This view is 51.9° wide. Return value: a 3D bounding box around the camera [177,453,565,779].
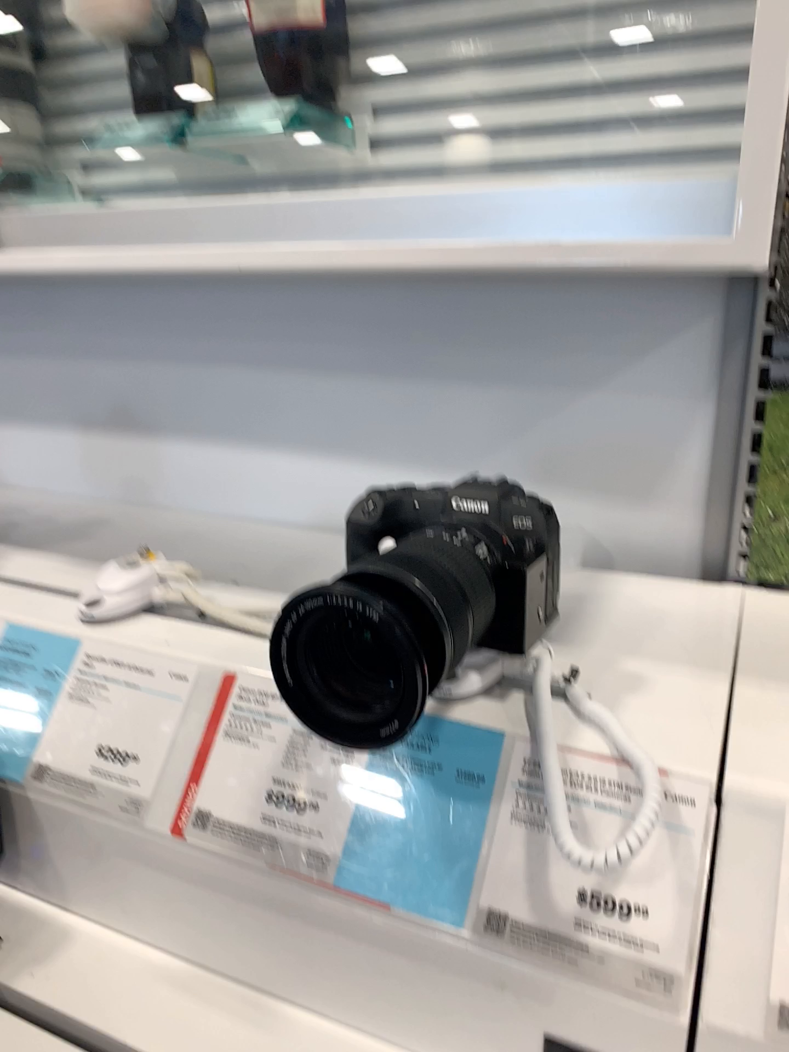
[{"bbox_3d":[0.001,0.031,0.459,0.132,0.100,0.199,7,18,27],"label":"camera"}]
